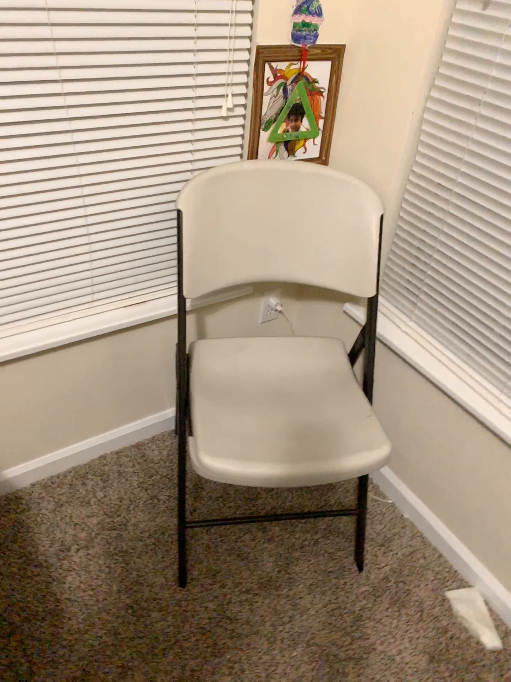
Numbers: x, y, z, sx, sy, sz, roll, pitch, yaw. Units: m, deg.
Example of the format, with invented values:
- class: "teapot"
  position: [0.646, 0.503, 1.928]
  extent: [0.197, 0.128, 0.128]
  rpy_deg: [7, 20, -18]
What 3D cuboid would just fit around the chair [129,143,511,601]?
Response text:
- class: "chair"
  position: [0.053, 0.061, 1.265]
  extent: [0.610, 0.816, 0.683]
  rpy_deg: [0, 37, -9]
